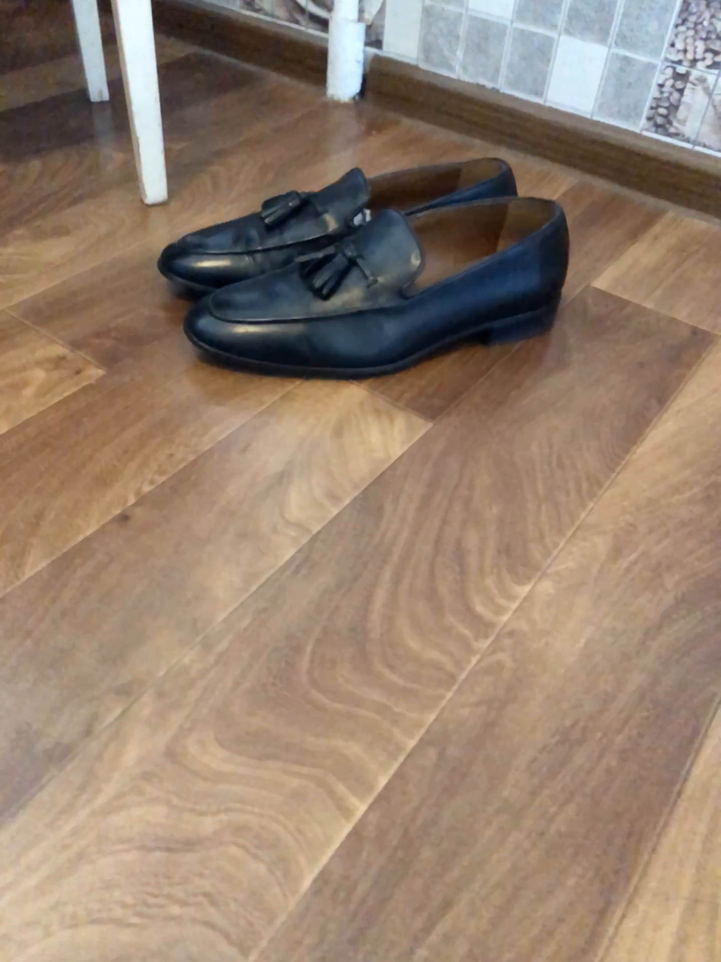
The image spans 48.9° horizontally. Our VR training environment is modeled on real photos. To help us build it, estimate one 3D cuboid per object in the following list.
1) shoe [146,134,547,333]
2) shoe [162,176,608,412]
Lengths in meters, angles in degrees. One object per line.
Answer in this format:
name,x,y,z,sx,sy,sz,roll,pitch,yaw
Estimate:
shoe,-0.010,-0.181,0.561,0.253,0.068,0.101,-13,47,-16
shoe,0.014,-0.126,0.506,0.253,0.068,0.101,-13,47,-17
